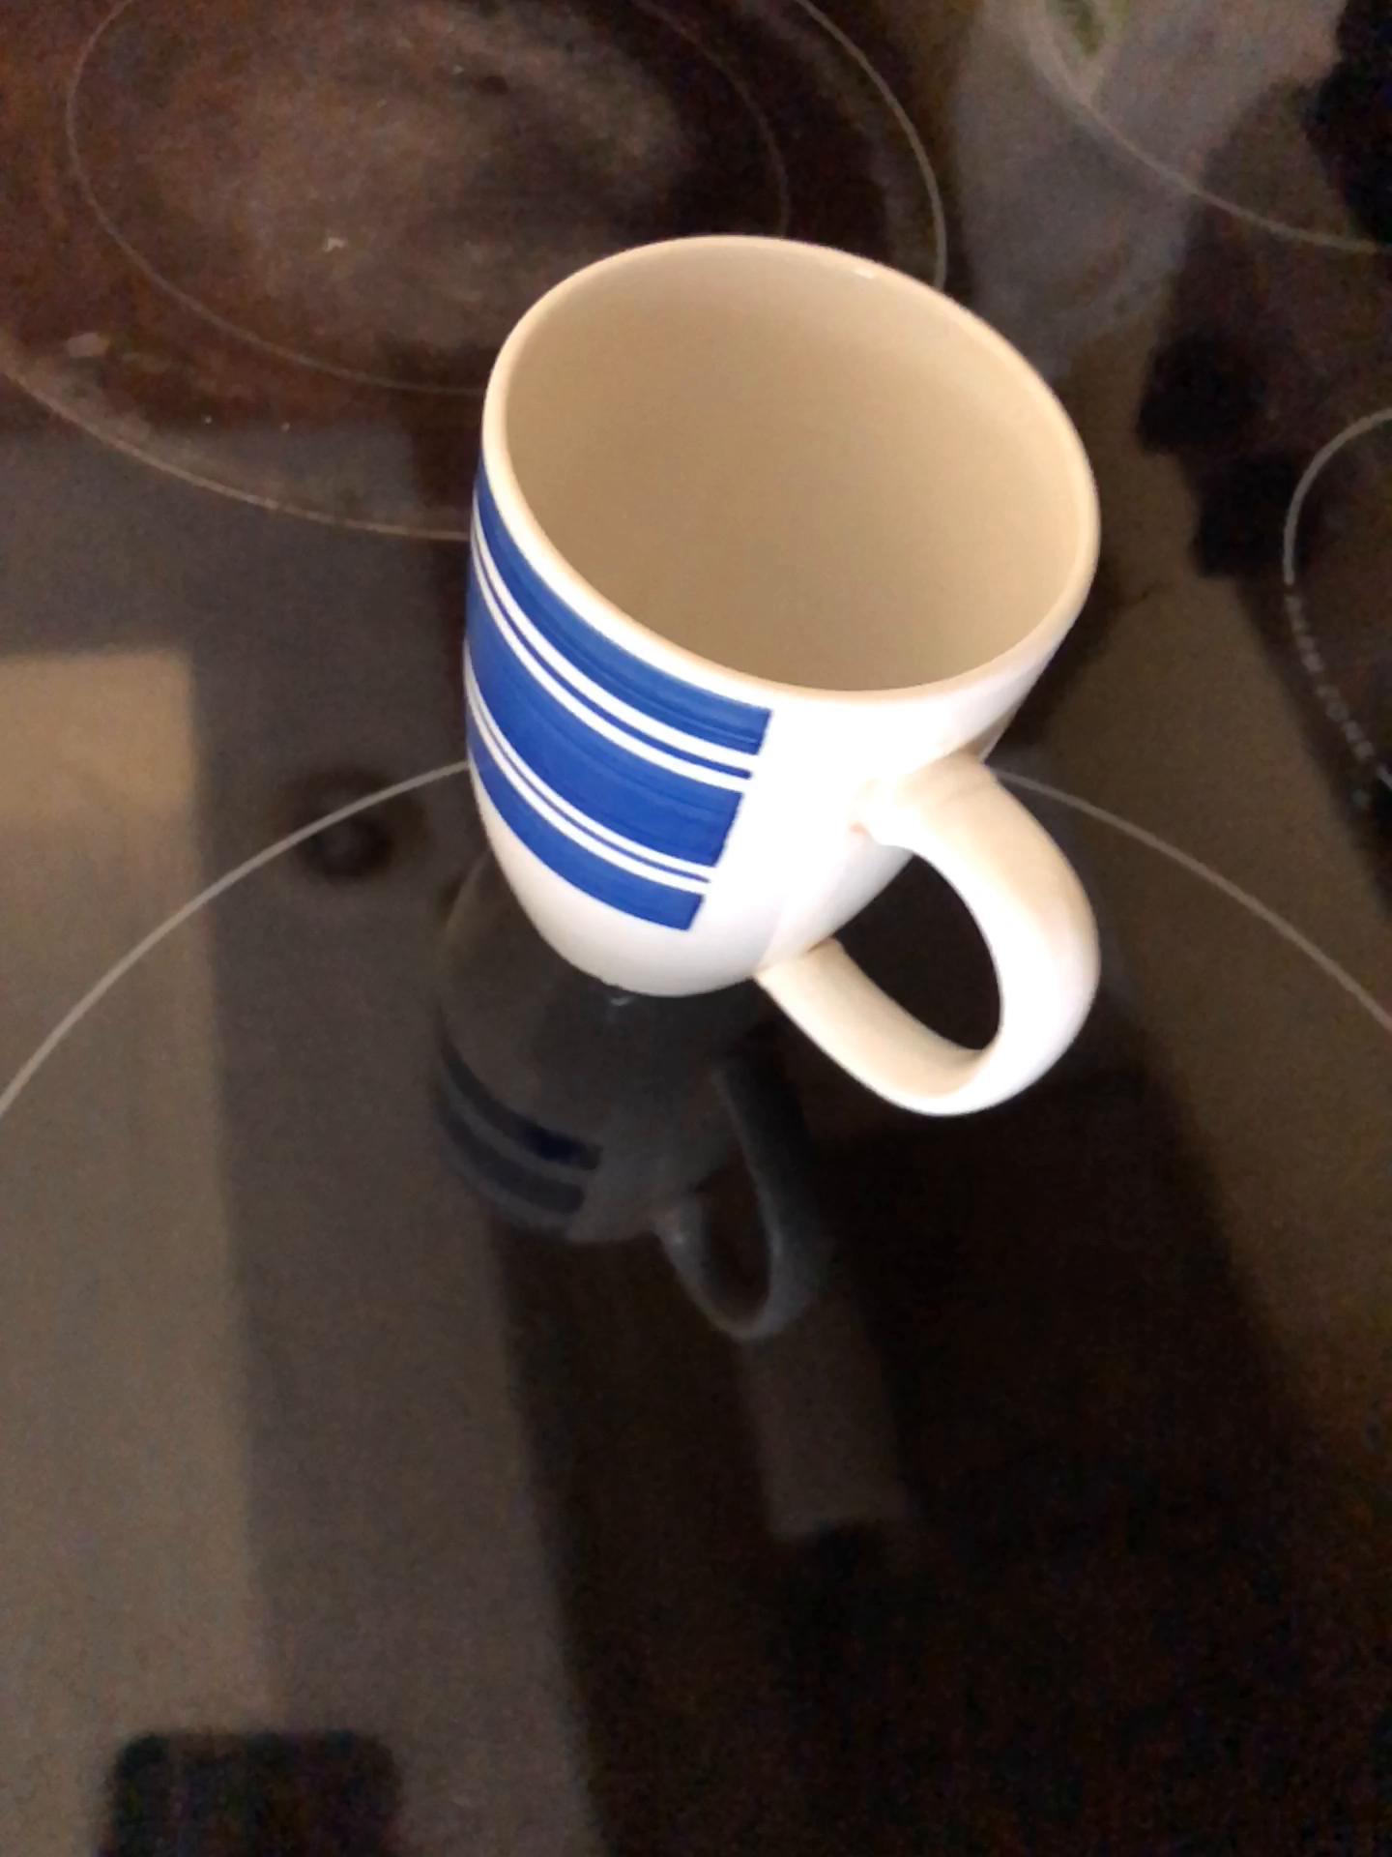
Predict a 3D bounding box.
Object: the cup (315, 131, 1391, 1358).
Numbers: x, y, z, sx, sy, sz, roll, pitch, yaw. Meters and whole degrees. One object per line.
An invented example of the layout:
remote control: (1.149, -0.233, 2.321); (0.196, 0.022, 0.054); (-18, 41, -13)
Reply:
cup: (0.012, -0.024, 0.216); (0.080, 0.090, 0.120); (-26, 70, -24)
